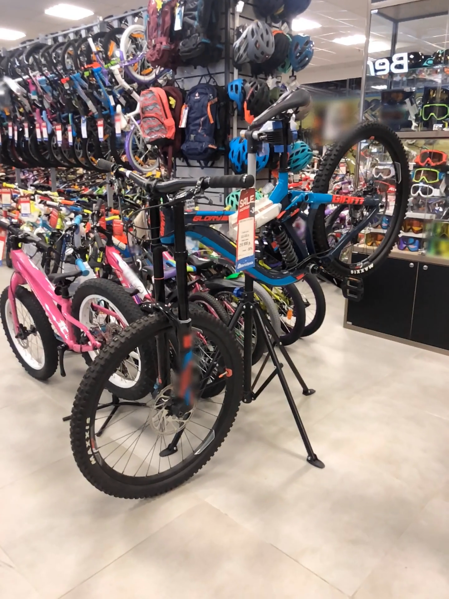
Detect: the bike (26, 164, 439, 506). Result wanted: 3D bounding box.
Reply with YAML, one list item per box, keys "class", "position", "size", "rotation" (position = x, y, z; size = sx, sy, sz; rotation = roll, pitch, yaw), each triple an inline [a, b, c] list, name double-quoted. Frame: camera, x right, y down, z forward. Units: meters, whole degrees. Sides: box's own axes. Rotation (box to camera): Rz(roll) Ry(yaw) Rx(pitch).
- class: "bike"
  position: [0.048, -0.044, 1.842]
  size: [1.526, 0.182, 0.660]
  rotation: [-38, 34, -23]
